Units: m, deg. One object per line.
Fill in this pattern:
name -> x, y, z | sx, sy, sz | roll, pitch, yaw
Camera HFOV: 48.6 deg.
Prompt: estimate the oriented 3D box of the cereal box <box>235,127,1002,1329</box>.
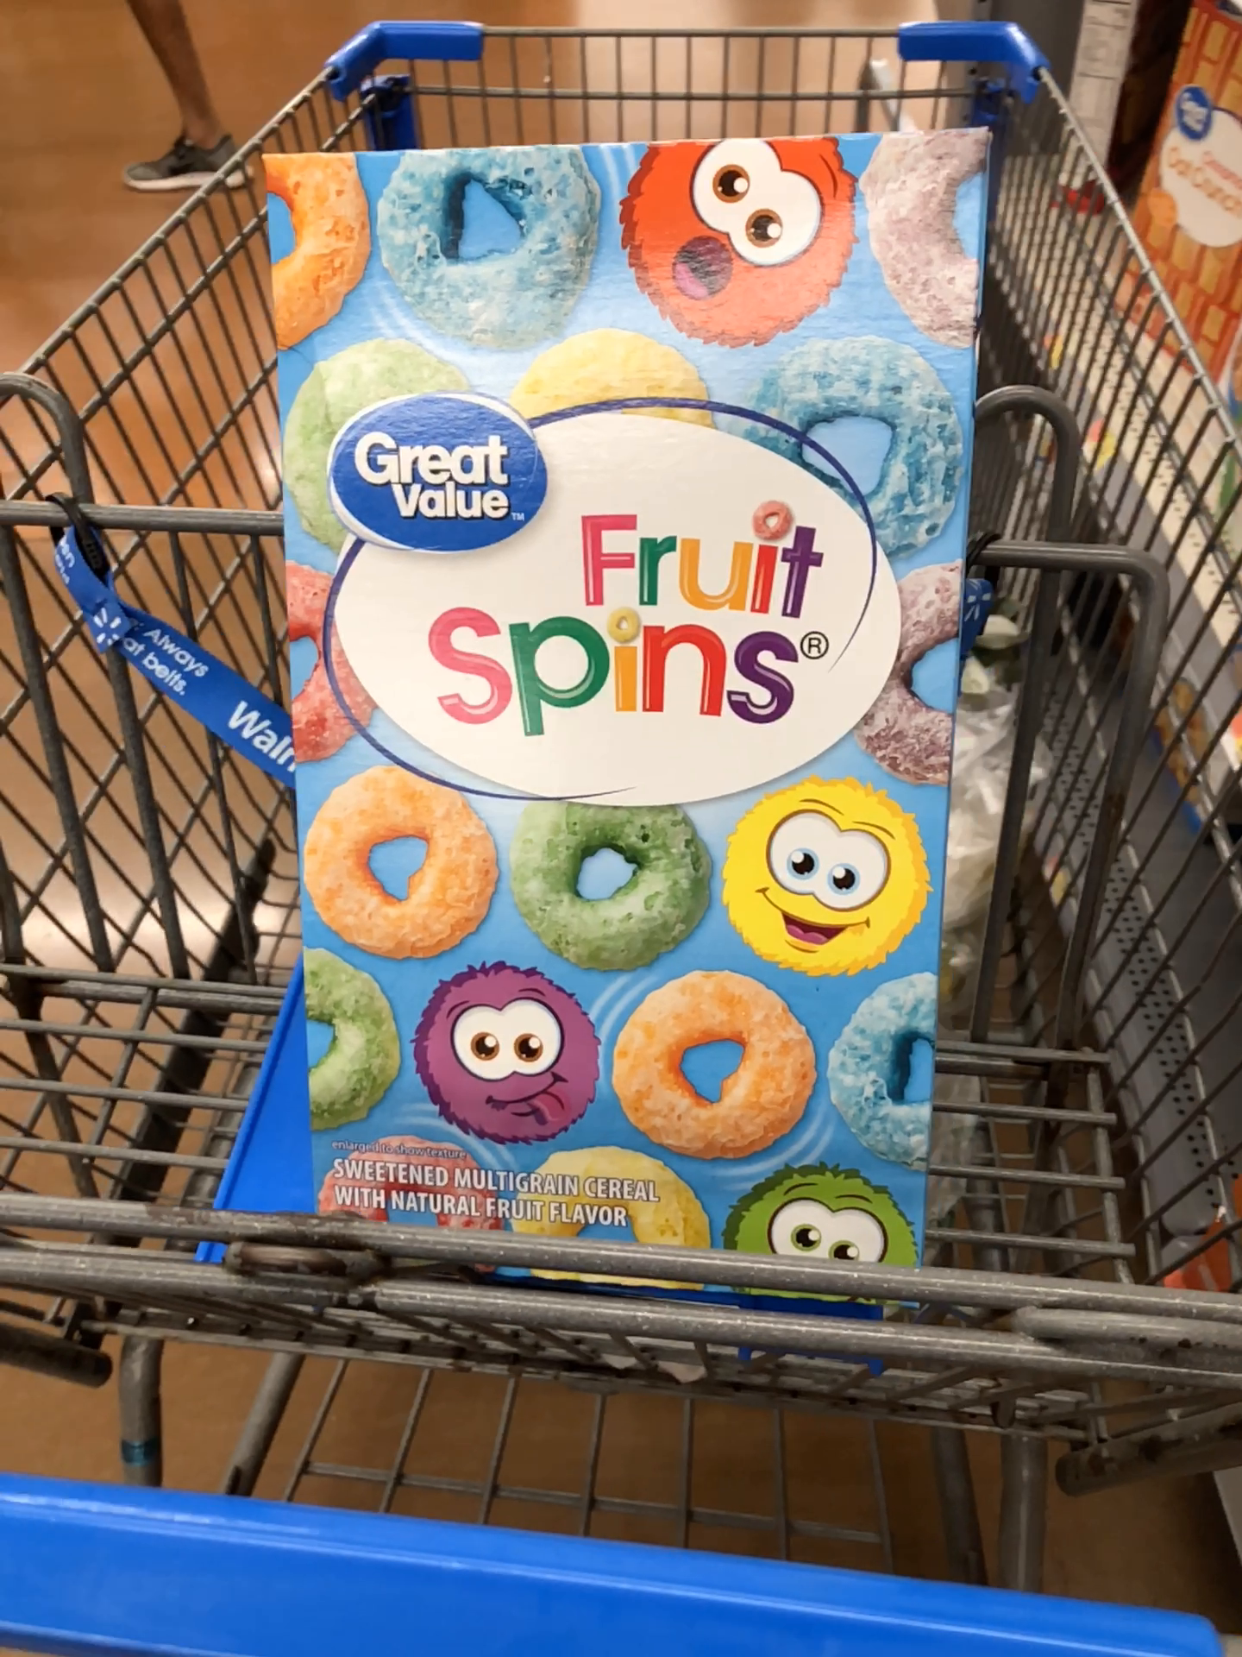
cereal box -> 0.000, -0.025, 0.439 | 0.200, 0.340, 0.090 | 2, 14, 6
